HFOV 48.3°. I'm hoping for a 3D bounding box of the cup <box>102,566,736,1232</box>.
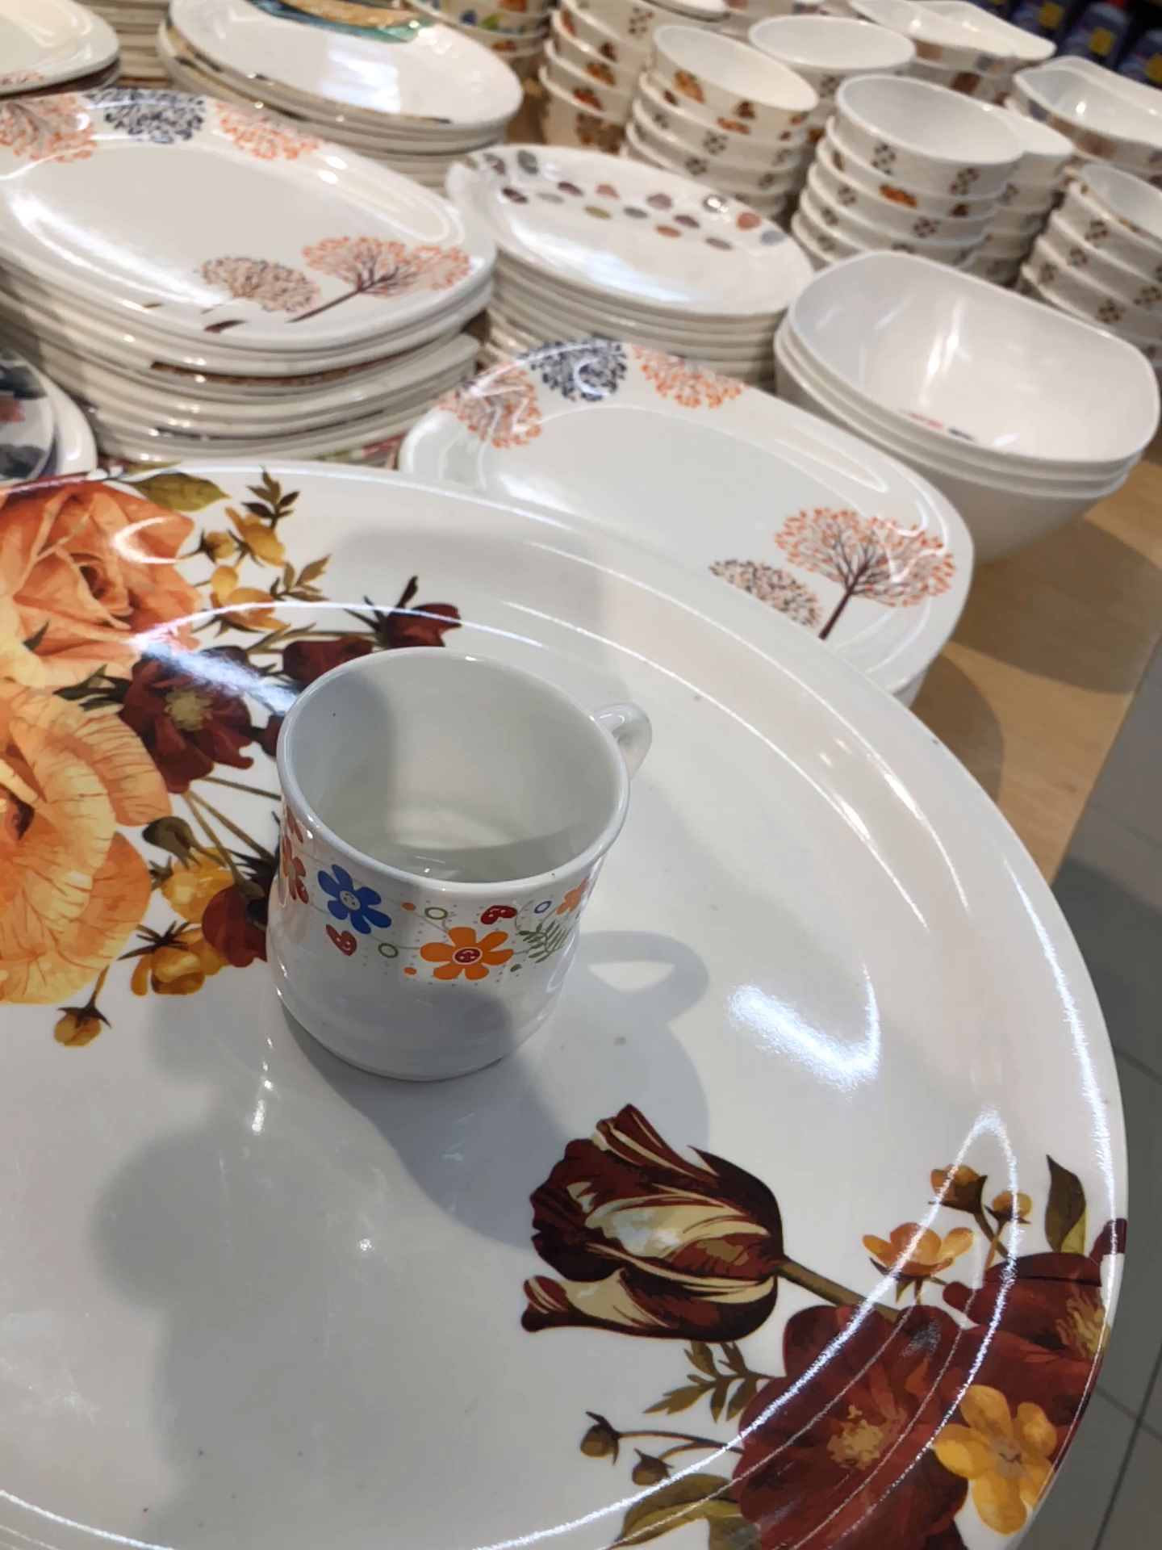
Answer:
[{"bbox_3d":[-0.035,0.021,0.274,0.070,0.079,0.101,39,45,20],"label":"cup"}]
